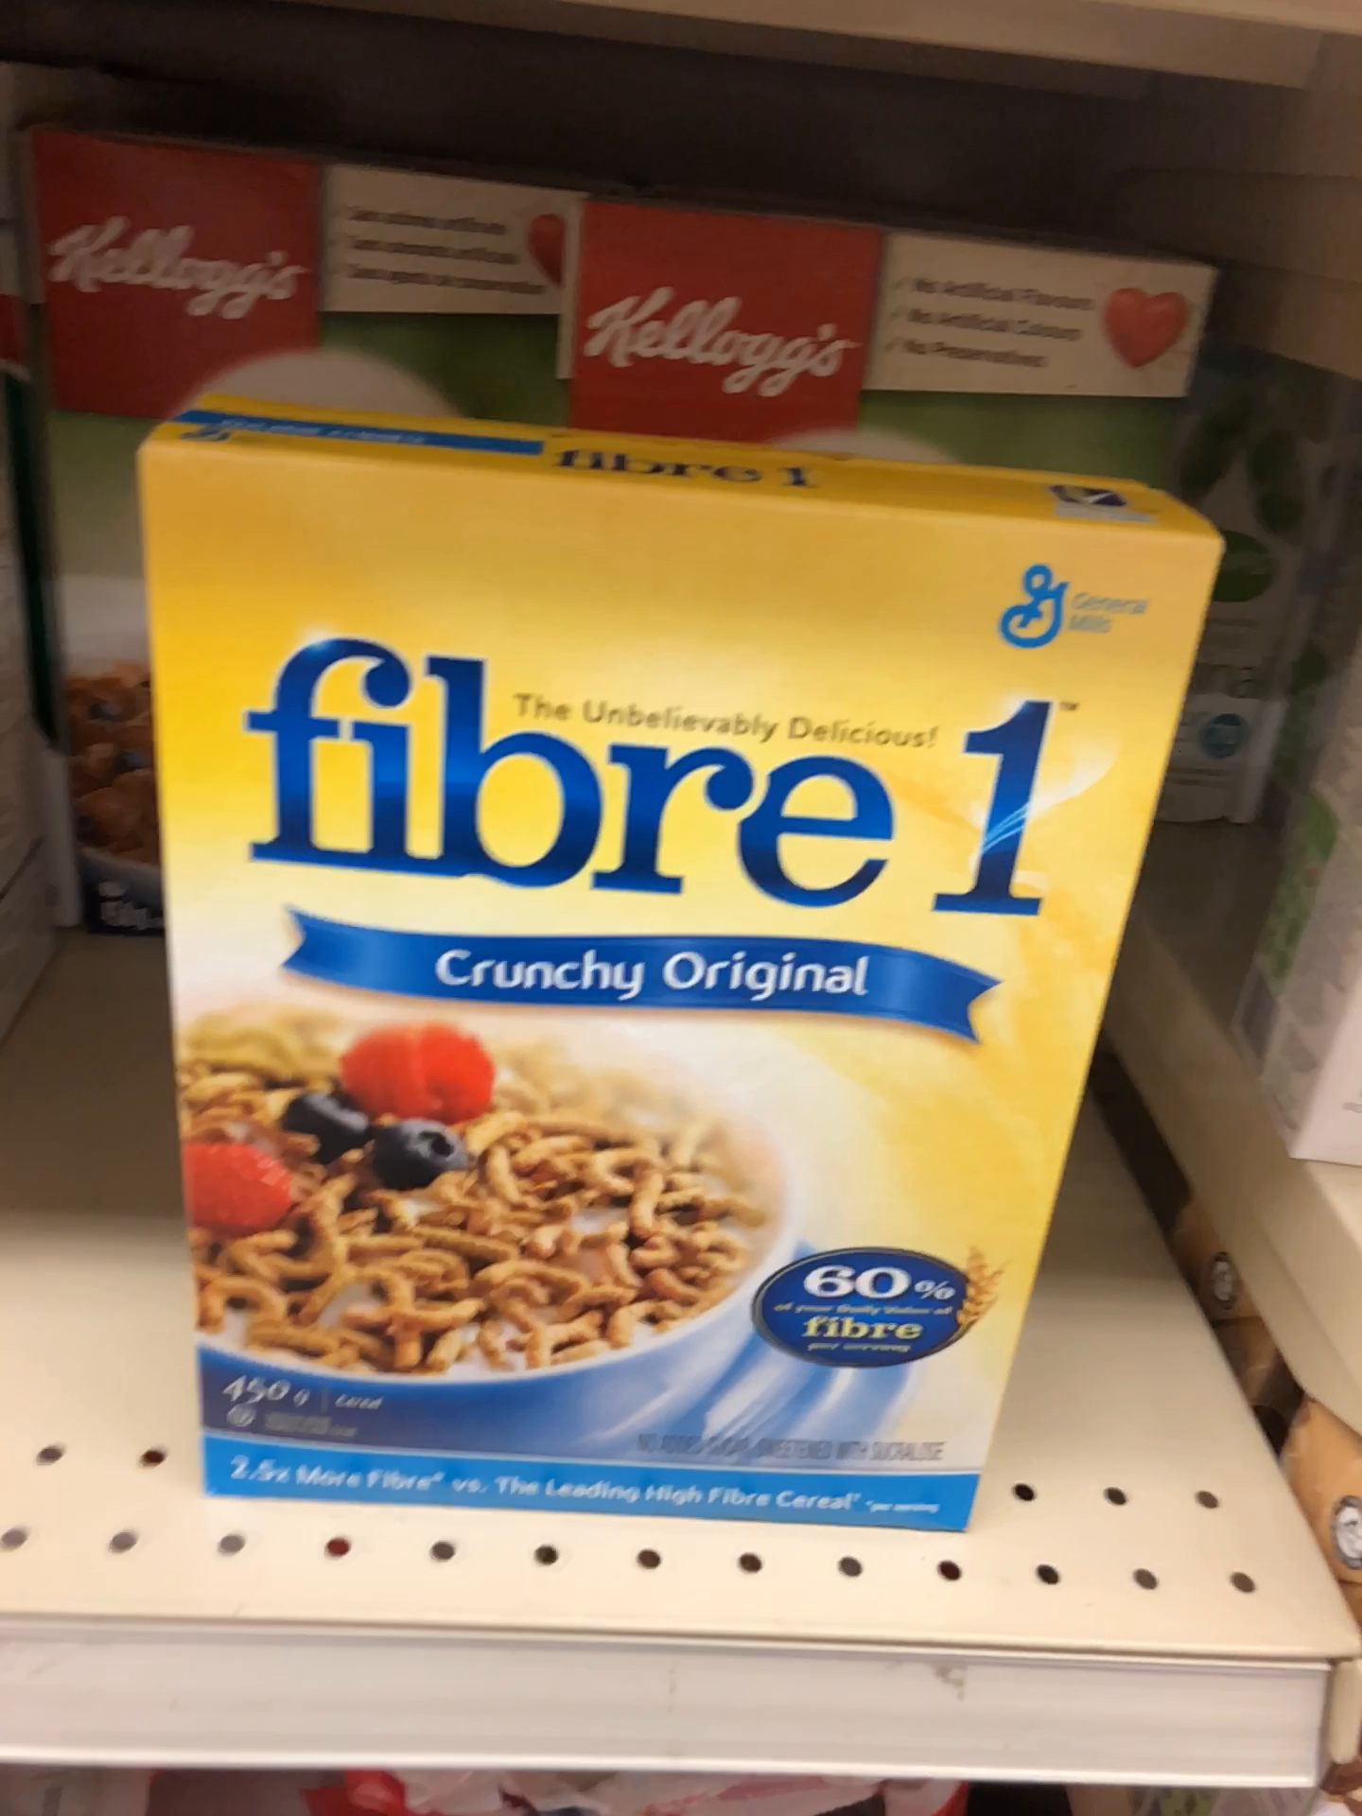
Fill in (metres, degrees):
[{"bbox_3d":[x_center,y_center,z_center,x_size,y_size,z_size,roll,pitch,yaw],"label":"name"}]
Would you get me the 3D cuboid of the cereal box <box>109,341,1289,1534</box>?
[{"bbox_3d":[-0.008,0.023,0.353,0.210,0.268,0.060,5,27,-3],"label":"cereal box"}]
